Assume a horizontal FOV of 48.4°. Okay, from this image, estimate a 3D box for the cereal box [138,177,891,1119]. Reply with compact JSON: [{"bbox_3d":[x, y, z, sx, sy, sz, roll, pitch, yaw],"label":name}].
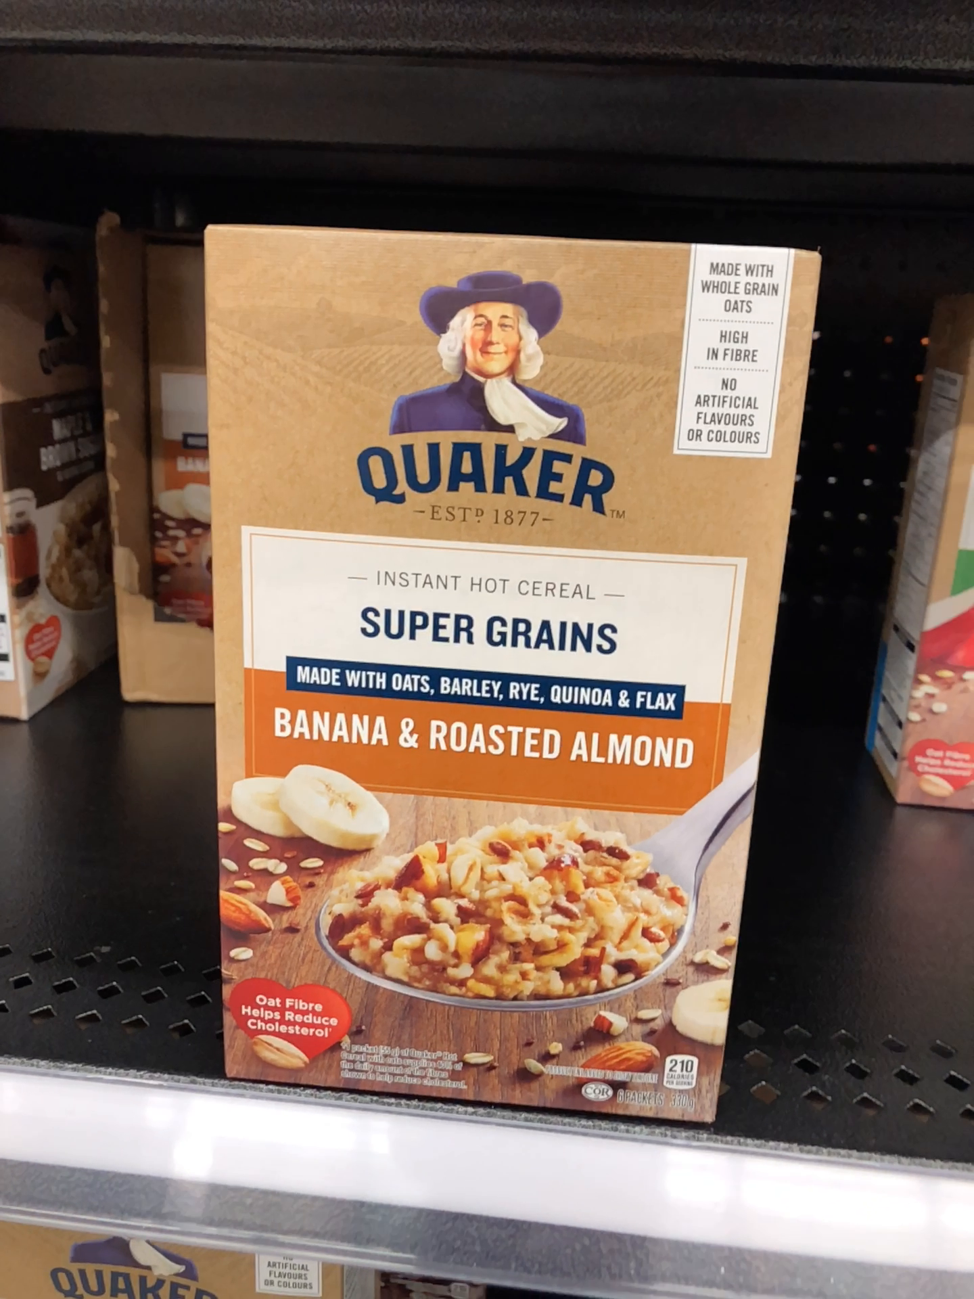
[{"bbox_3d":[0.002,0.000,0.249,0.130,0.189,0.070,4,18,3],"label":"cereal box"}]
